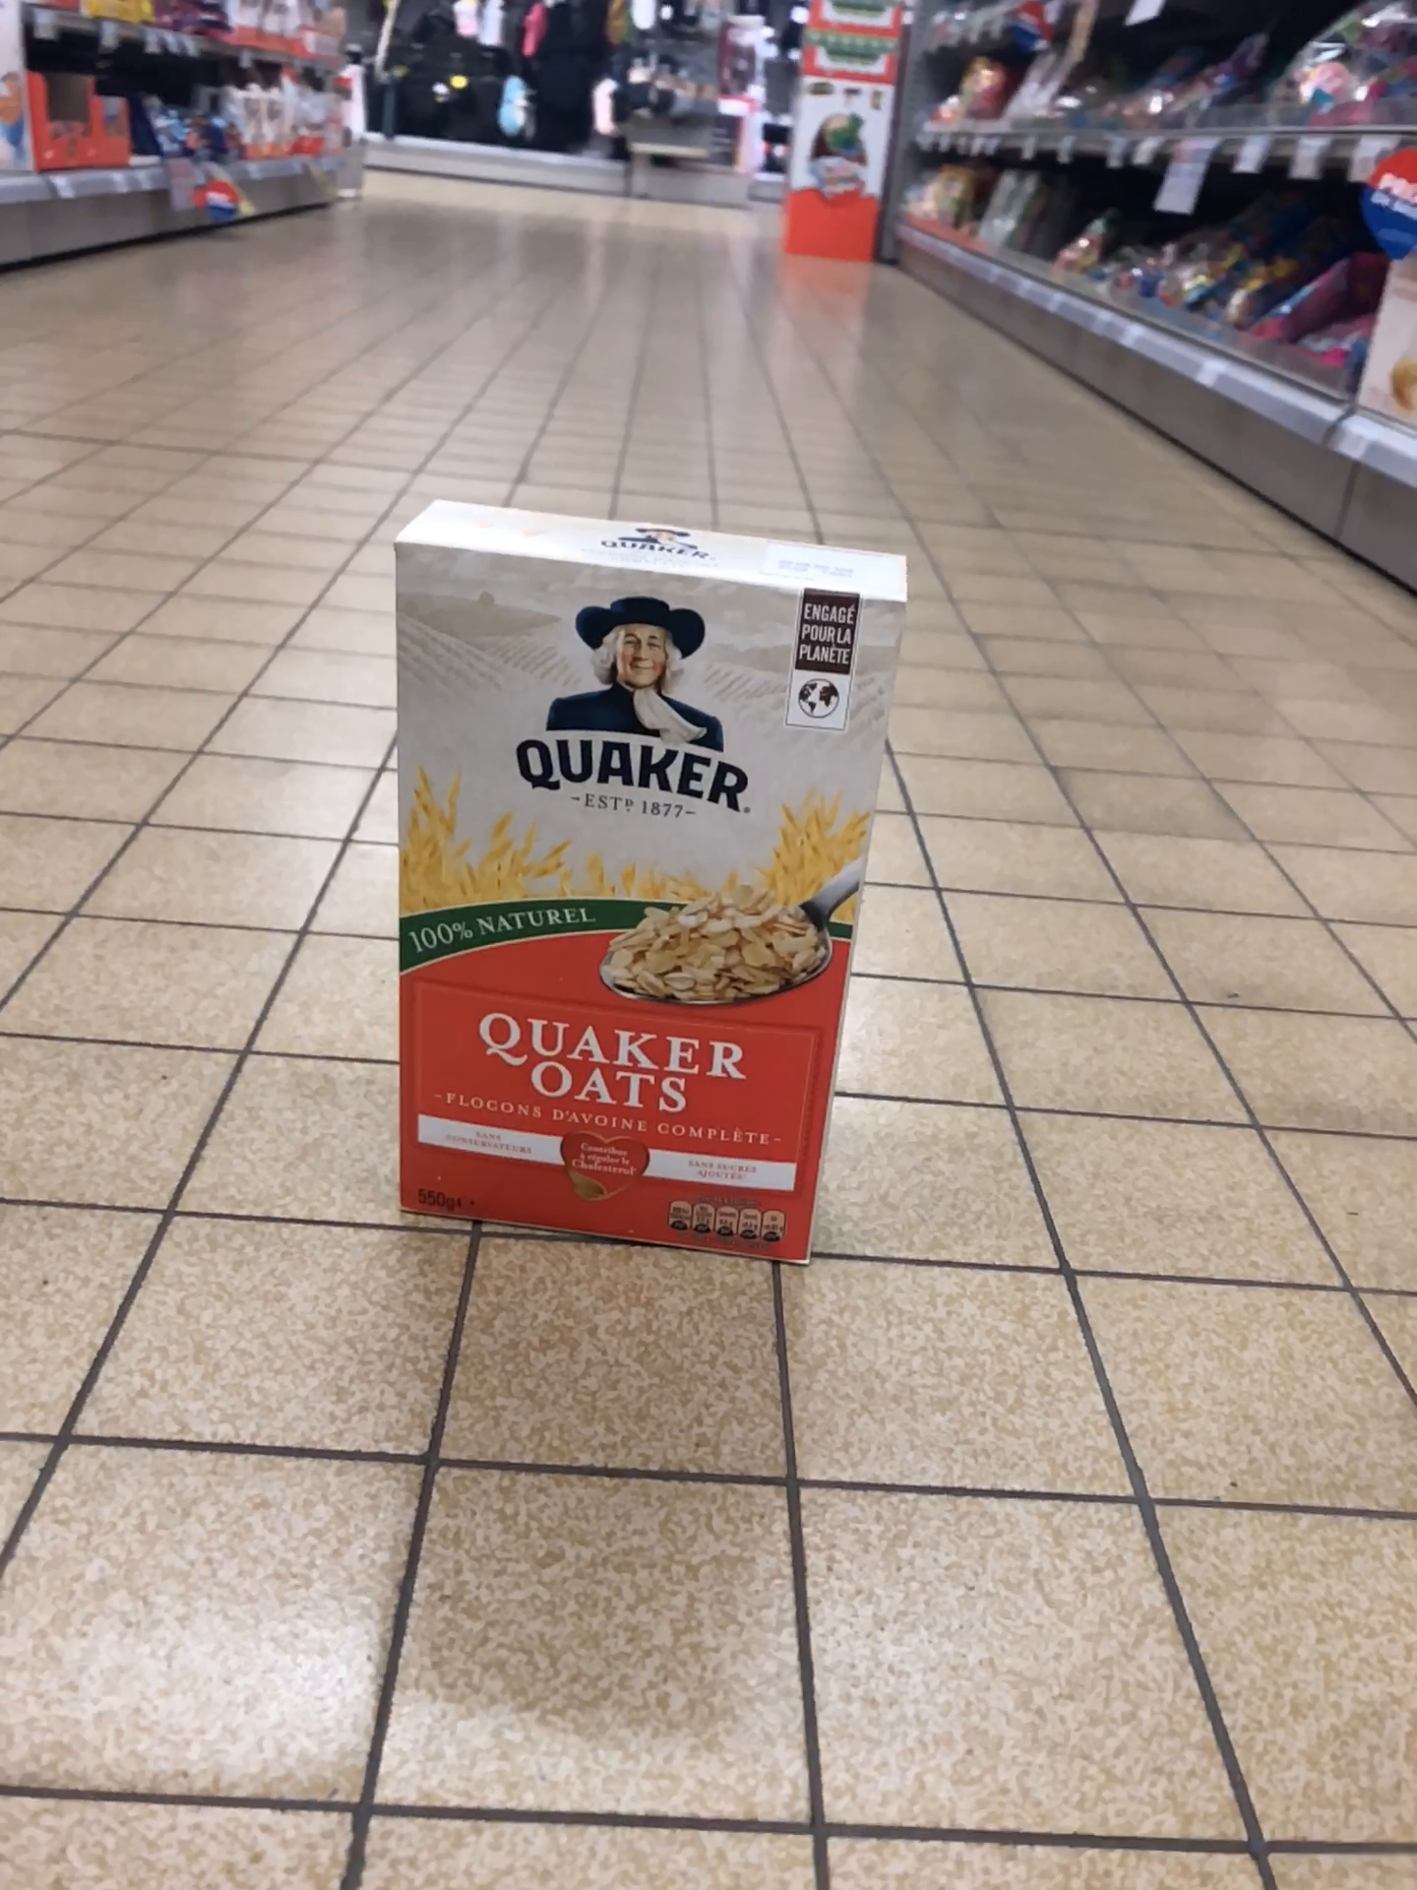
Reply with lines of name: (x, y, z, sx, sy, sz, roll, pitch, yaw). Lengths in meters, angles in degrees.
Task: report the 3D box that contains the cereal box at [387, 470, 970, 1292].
cereal box: (-0.016, -0.014, 0.474, 0.150, 0.229, 0.050, 8, 26, 4)
